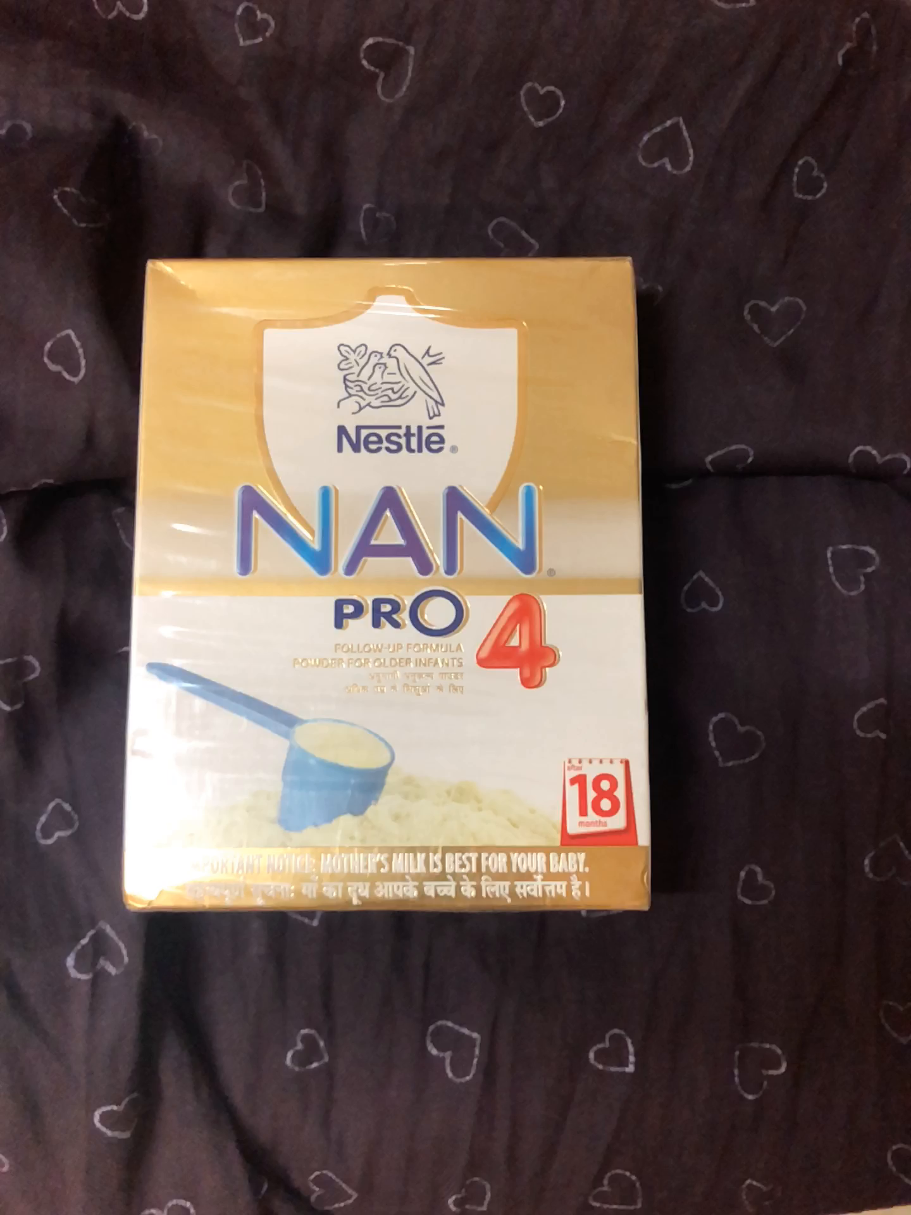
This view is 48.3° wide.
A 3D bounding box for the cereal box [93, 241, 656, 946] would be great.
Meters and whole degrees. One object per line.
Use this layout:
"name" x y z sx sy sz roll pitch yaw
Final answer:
"cereal box" -0.023 -0.005 0.326 0.160 0.050 0.210 0 83 2
